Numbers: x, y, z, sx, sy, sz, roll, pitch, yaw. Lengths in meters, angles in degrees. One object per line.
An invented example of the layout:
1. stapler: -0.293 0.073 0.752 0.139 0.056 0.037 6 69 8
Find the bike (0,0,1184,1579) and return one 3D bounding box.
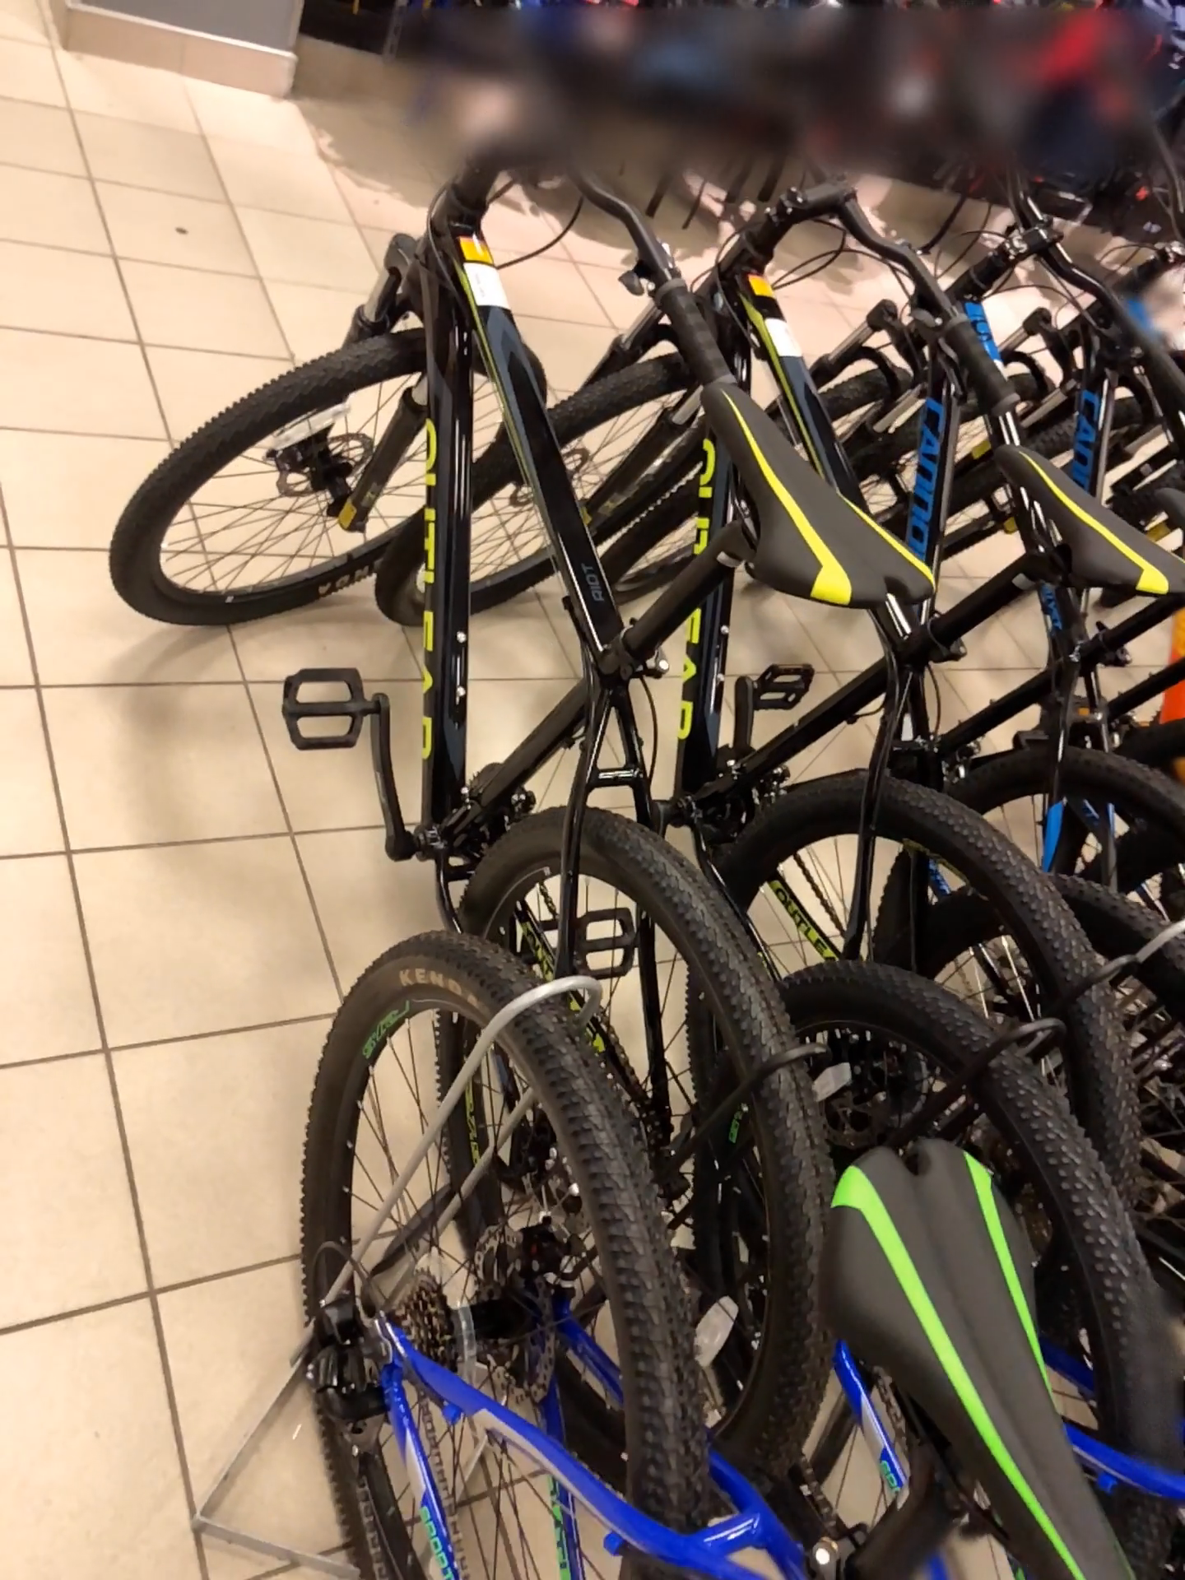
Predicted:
1. bike: -0.214 -0.004 1.251 0.664 1.044 1.354 -13 55 -37
